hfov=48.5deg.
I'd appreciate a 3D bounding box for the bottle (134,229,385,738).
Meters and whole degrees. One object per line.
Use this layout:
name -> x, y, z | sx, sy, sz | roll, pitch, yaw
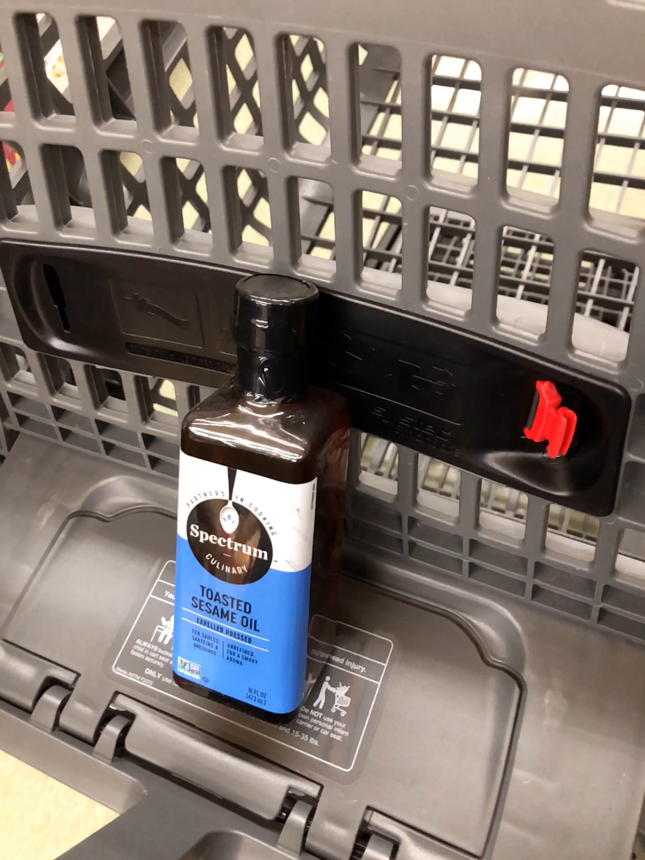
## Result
bottle -> -0.028, 0.027, 0.303 | 0.070, 0.200, 0.060 | 15, 30, 17
